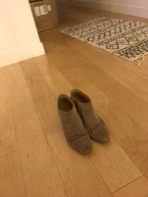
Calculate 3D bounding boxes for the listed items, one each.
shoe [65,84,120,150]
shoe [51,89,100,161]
[{"bbox_3d":[0.071,0.065,0.695,0.100,0.119,0.272,-23,39,-15],"label":"shoe"},{"bbox_3d":[-0.001,0.097,0.683,0.110,0.129,0.272,-18,38,-9],"label":"shoe"}]
